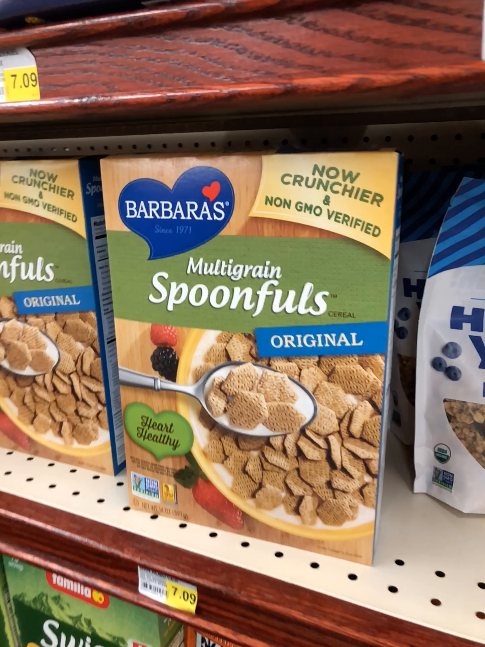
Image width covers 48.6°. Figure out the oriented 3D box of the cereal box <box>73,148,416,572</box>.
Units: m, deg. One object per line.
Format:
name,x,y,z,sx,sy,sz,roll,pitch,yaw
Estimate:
cereal box,0.001,0.017,0.360,0.200,0.249,0.060,5,17,20
